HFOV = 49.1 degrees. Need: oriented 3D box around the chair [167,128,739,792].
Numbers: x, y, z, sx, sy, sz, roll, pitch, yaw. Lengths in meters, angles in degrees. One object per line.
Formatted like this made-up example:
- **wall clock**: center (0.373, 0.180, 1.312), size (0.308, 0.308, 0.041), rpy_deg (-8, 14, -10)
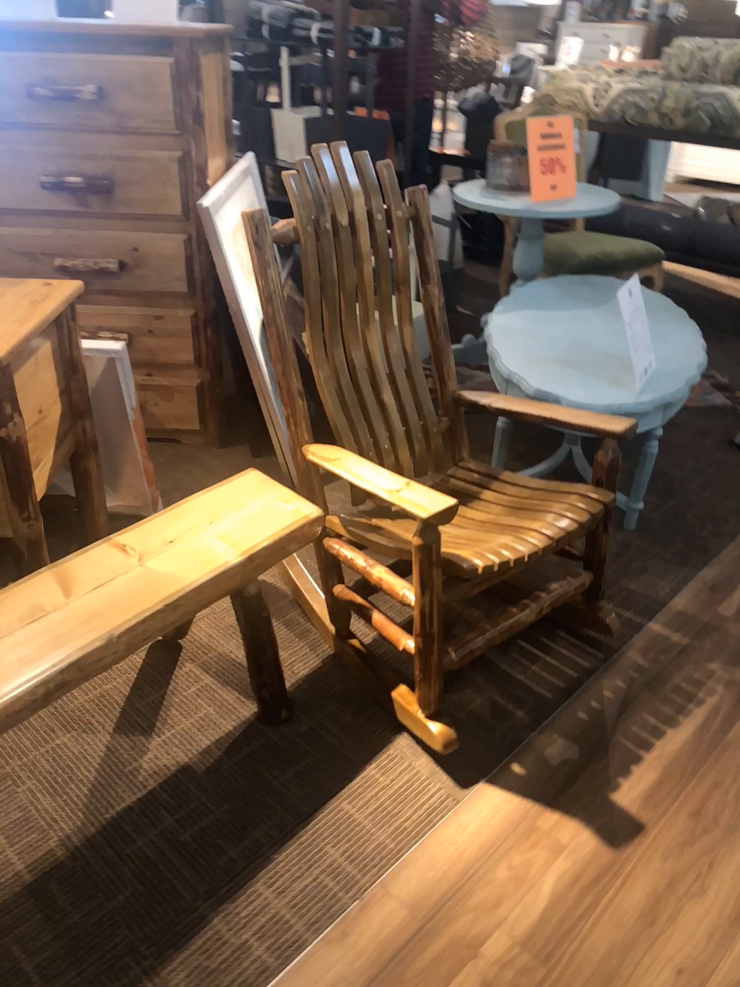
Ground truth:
- **chair**: center (0.140, -0.169, 1.793), size (0.719, 1.048, 0.886), rpy_deg (-22, 39, -36)
